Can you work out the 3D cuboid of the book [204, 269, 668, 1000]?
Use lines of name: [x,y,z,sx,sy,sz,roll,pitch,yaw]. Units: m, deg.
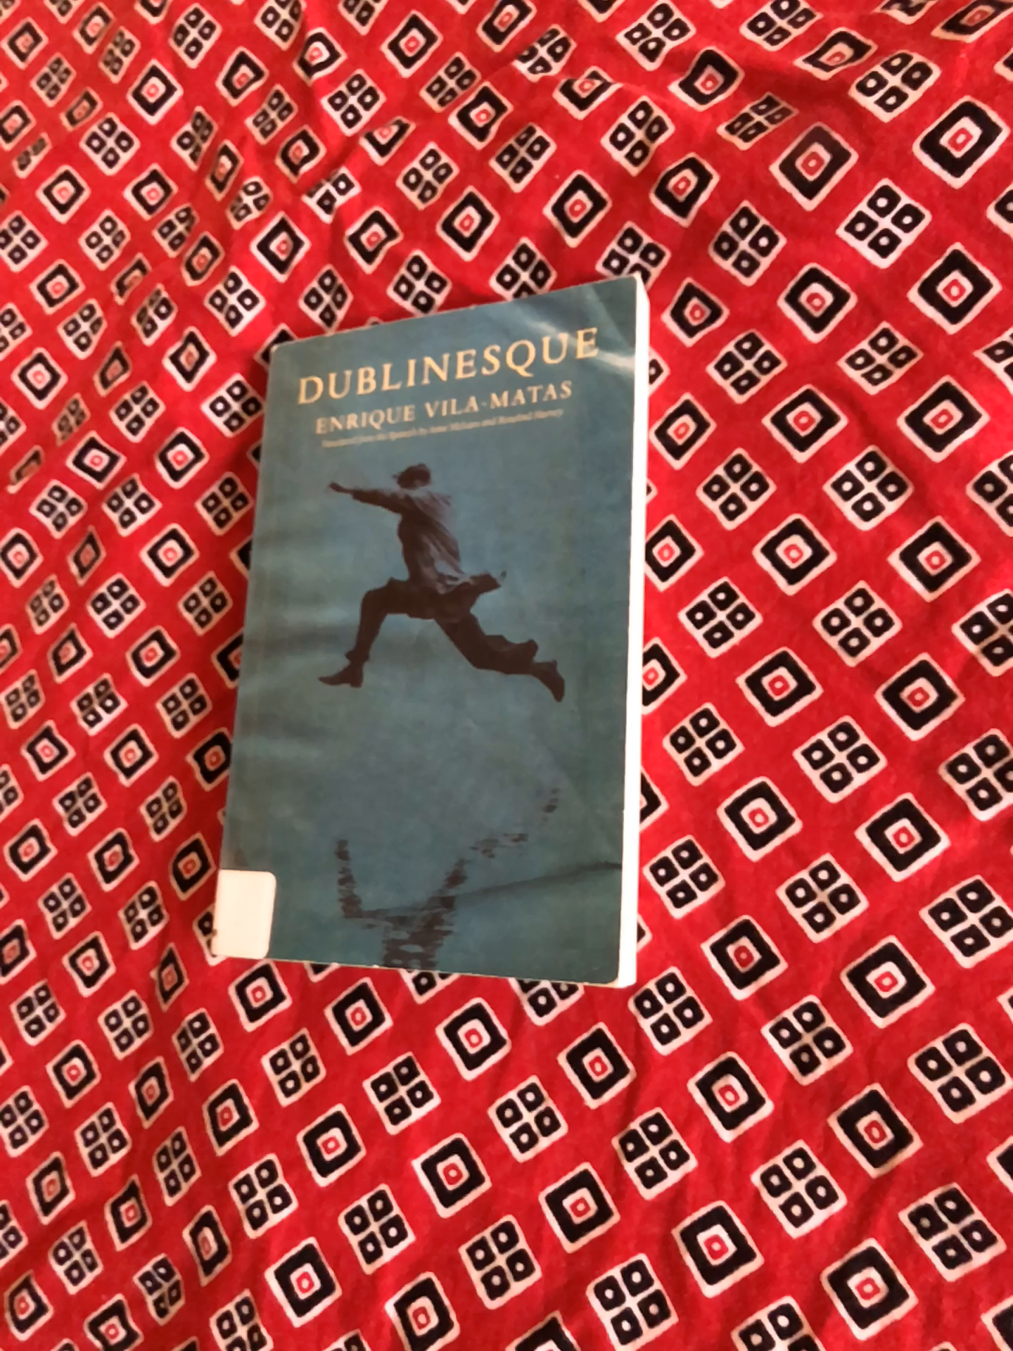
book: [-0.022,-0.013,0.345,0.137,0.020,0.203,-2,79,25]
